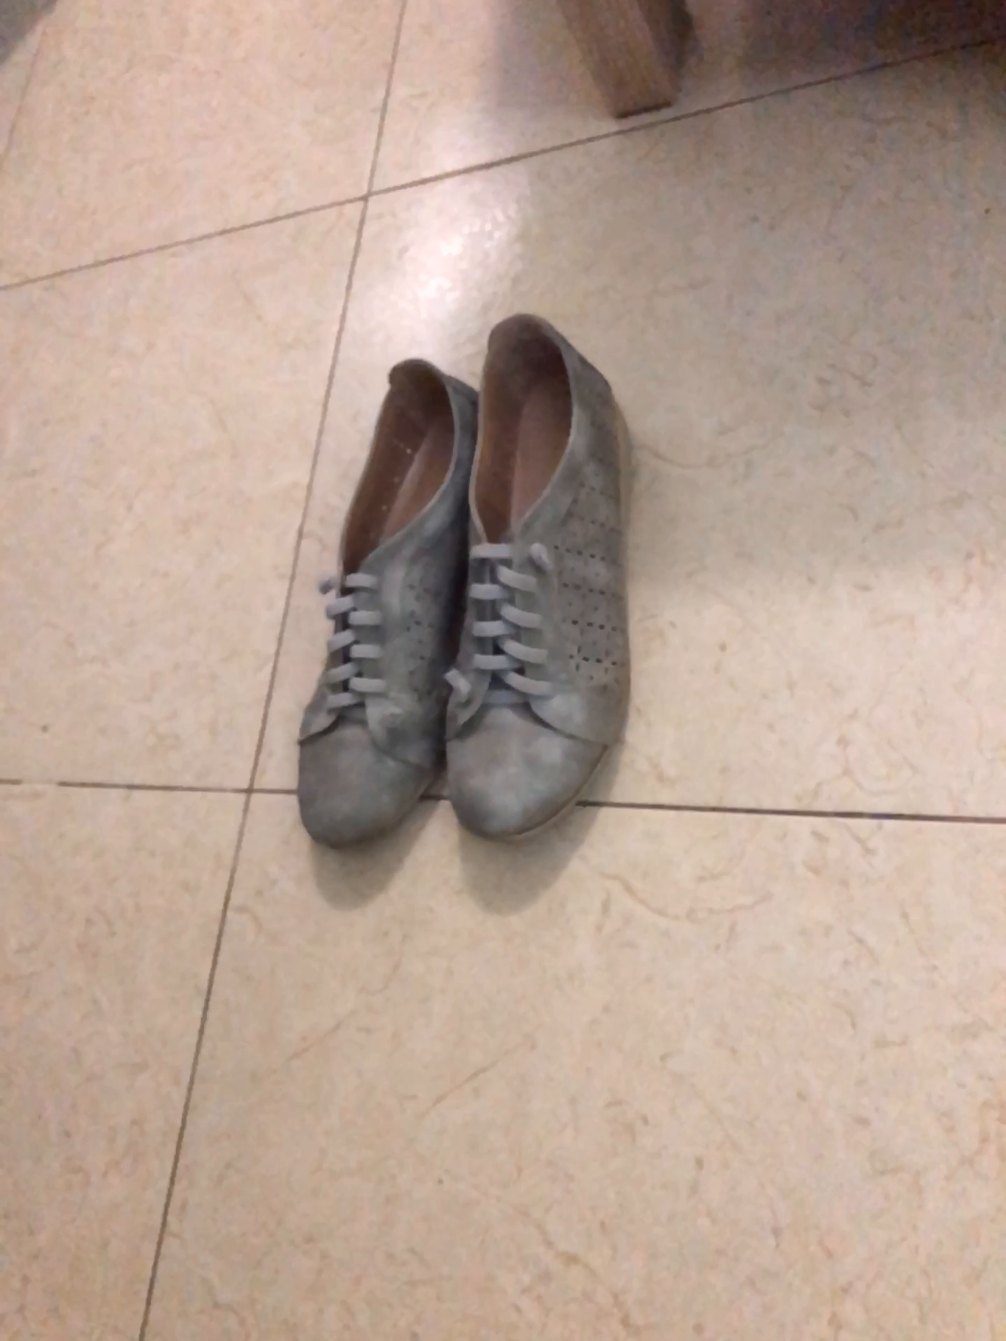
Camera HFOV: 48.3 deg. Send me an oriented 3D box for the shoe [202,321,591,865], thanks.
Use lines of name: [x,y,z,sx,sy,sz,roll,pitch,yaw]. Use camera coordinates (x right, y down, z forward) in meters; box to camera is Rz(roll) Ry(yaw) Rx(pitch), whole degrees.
shoe: [-0.055,-0.048,0.656,0.100,0.100,0.290,12,77,31]

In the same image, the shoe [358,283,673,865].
shoe: [0.015,-0.051,0.614,0.100,0.100,0.290,-1,71,27]
